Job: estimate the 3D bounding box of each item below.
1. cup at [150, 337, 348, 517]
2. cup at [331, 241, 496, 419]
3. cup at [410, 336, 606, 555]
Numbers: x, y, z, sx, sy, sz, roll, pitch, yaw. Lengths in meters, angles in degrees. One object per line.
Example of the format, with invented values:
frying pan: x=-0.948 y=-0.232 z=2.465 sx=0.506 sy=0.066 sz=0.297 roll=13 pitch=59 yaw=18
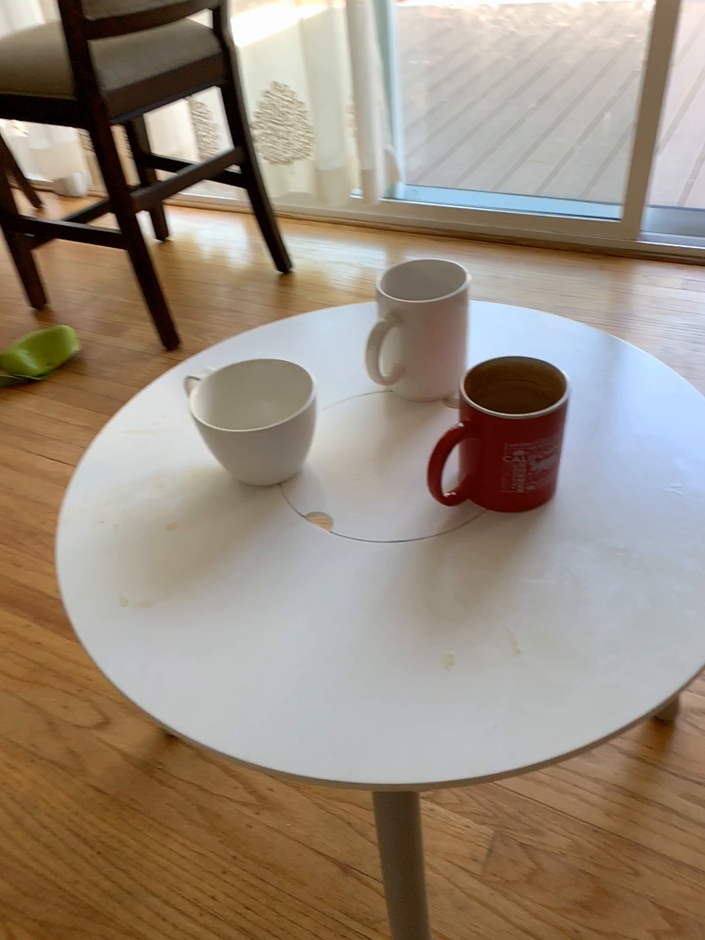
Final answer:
cup: x=-0.090 y=-0.043 z=0.634 sx=0.110 sy=0.070 sz=0.131 roll=-31 pitch=46 yaw=-26
cup: x=0.059 y=-0.133 z=0.667 sx=0.090 sy=0.100 sz=0.120 roll=28 pitch=51 yaw=34
cup: x=0.121 y=-0.023 z=0.569 sx=0.130 sy=0.100 sz=0.080 roll=-34 pitch=48 yaw=-28
